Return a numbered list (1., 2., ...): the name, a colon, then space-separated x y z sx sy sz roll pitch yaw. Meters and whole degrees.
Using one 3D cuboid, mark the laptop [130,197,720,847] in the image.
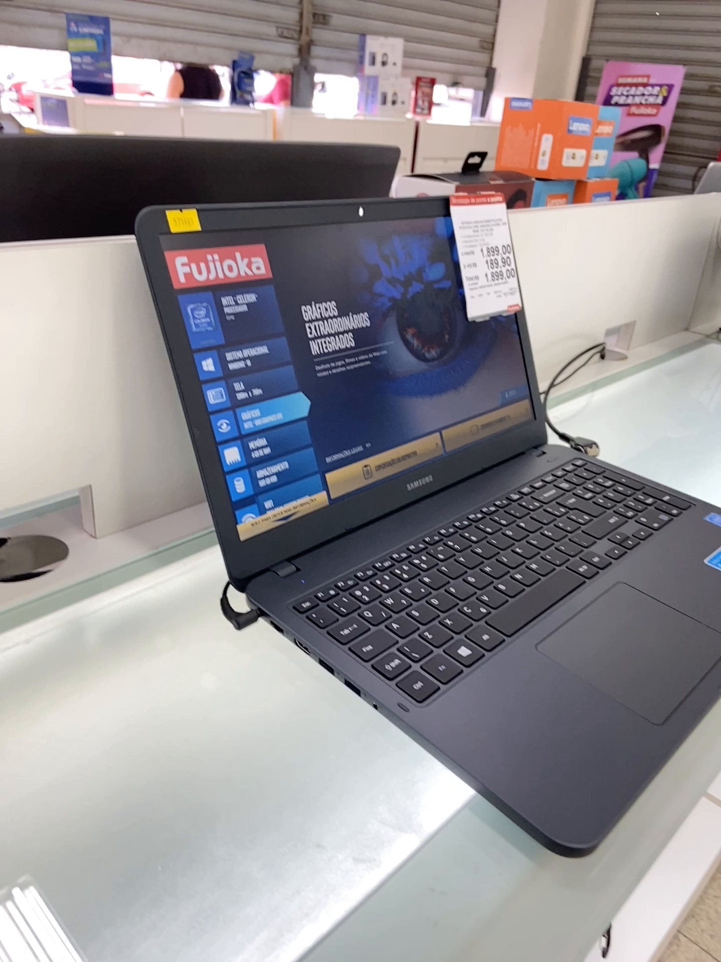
1. laptop: 0.110 -0.051 0.494 0.368 0.207 0.347 -21 36 -40
